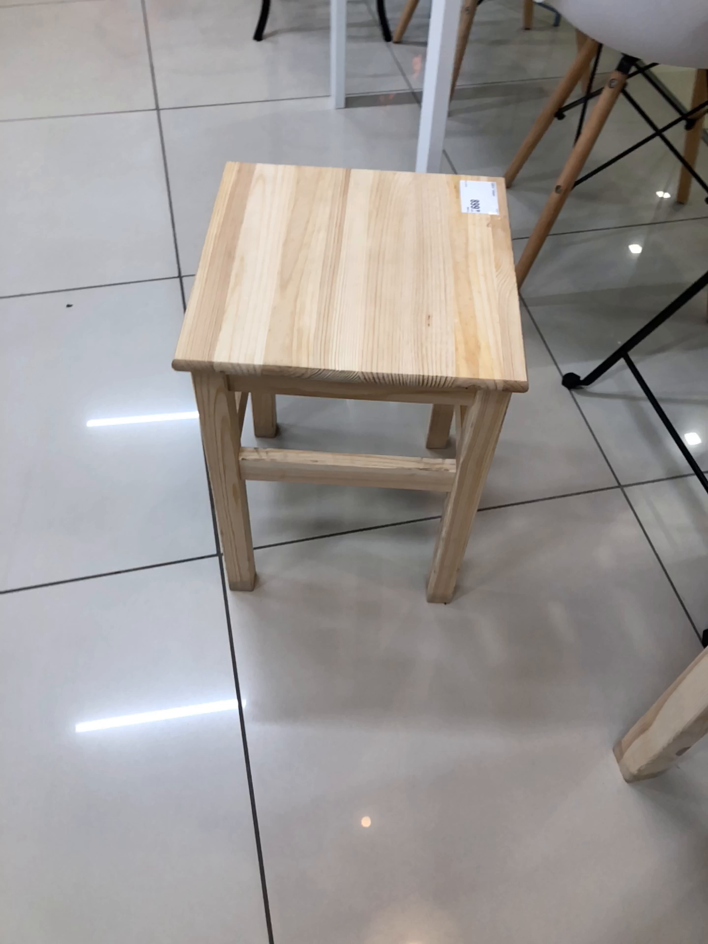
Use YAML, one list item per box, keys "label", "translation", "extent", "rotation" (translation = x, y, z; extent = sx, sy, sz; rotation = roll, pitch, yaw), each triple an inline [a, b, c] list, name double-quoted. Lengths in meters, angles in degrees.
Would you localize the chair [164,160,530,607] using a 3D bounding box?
- label: "chair"
  translation: [-0.003, -0.090, 0.938]
  extent: [0.320, 0.408, 0.328]
  rotation: [4, 53, 1]
